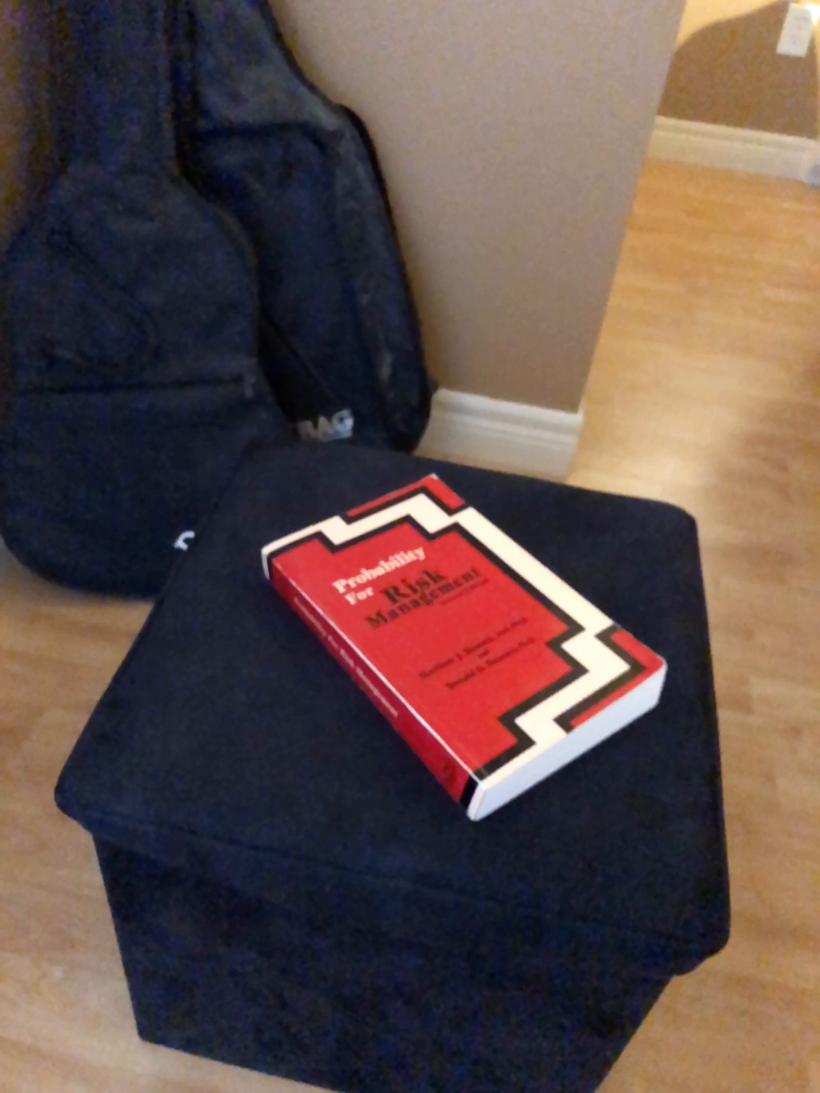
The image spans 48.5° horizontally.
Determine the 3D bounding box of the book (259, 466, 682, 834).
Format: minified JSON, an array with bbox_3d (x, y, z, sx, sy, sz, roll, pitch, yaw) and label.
[{"bbox_3d":[0.029,0.046,0.555,0.150,0.041,0.215,-23,50,-31],"label":"book"}]
